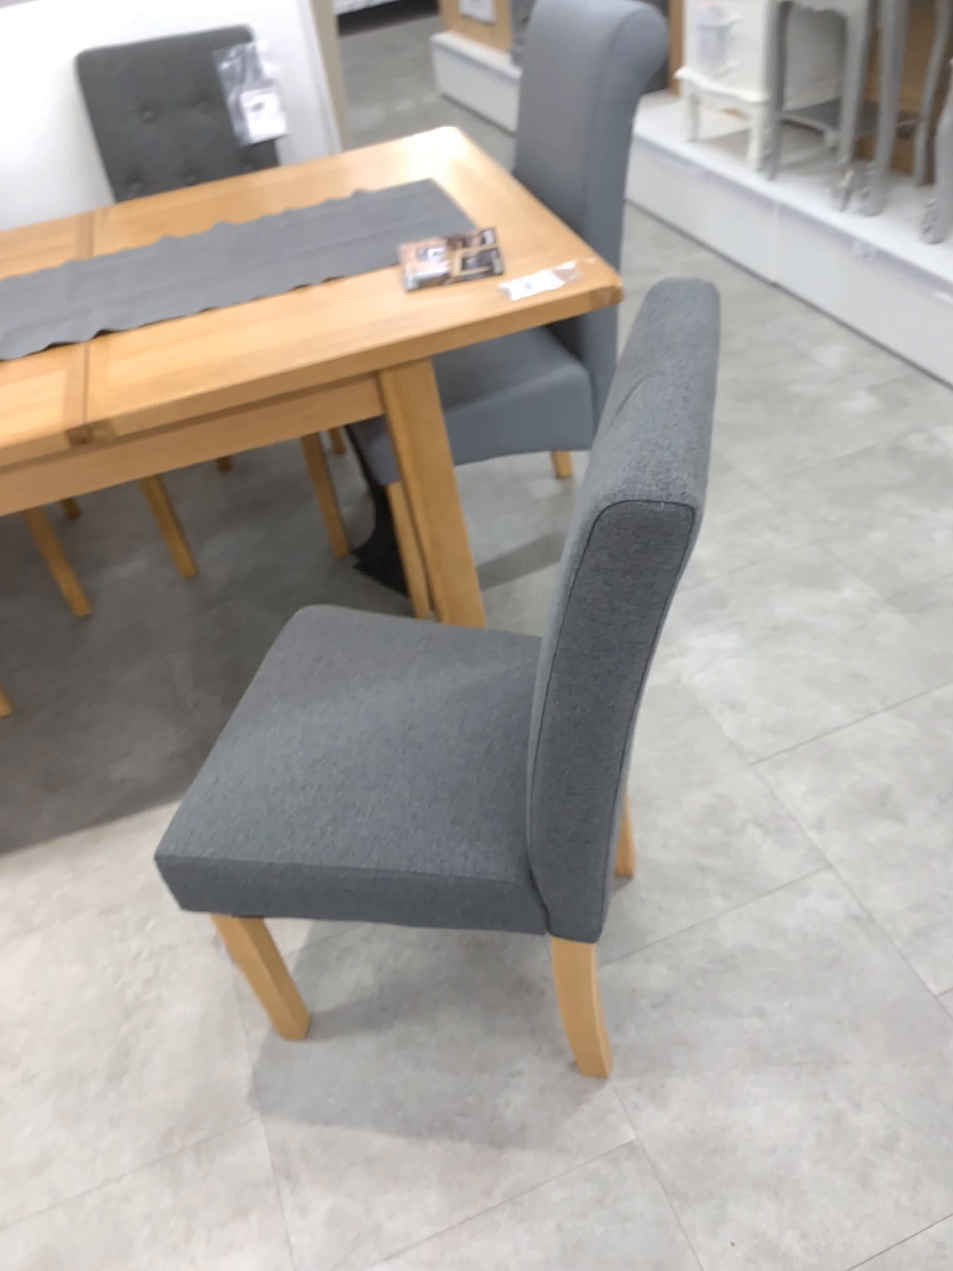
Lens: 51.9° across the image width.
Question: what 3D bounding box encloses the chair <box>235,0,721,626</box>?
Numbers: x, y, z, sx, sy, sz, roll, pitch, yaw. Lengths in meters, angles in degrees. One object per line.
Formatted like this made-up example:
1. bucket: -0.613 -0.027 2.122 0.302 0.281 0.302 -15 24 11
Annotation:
1. chair: 0.030 -0.600 1.803 0.622 0.899 0.509 -19 42 -9

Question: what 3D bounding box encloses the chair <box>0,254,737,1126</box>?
1. chair: -0.066 0.089 1.098 0.643 0.830 0.448 4 43 15
